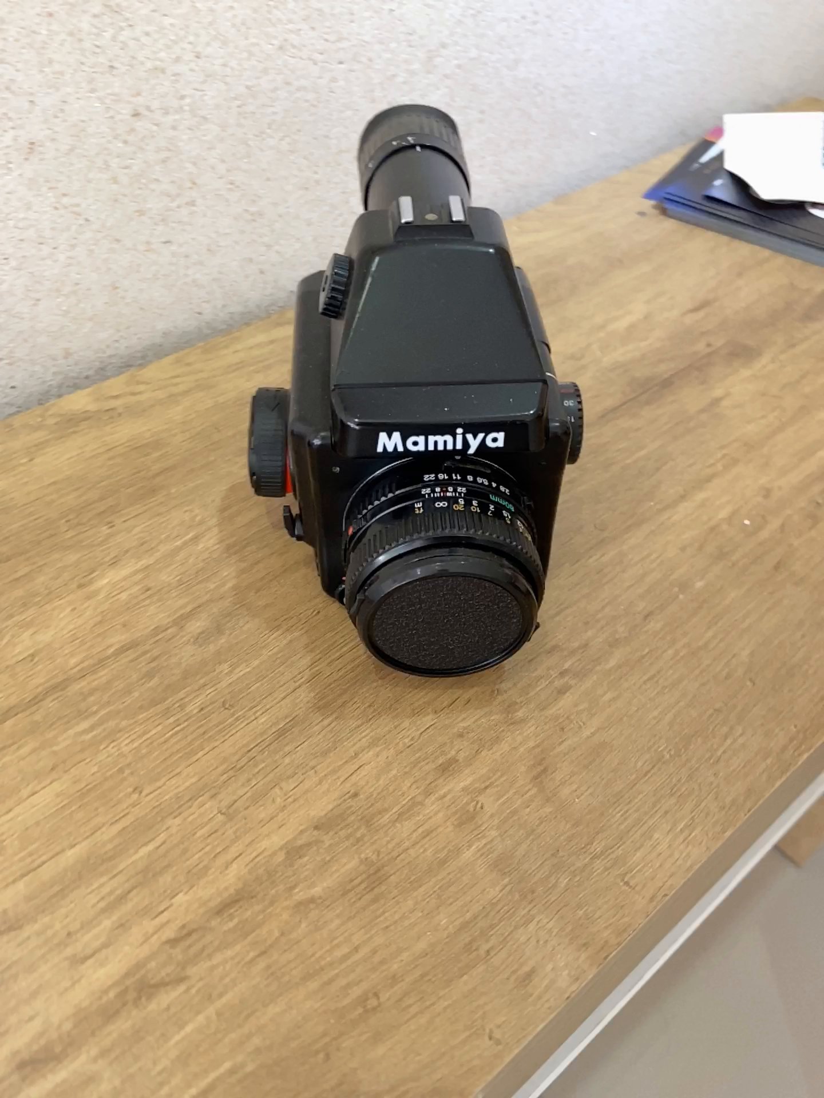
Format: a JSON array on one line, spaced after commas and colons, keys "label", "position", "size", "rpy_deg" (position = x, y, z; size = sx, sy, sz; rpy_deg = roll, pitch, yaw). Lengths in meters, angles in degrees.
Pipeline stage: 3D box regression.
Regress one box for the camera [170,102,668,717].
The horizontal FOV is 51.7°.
[{"label": "camera", "position": [-0.008, -0.067, 0.320], "size": [0.120, 0.109, 0.221], "rpy_deg": [-5, 46, -4]}]
